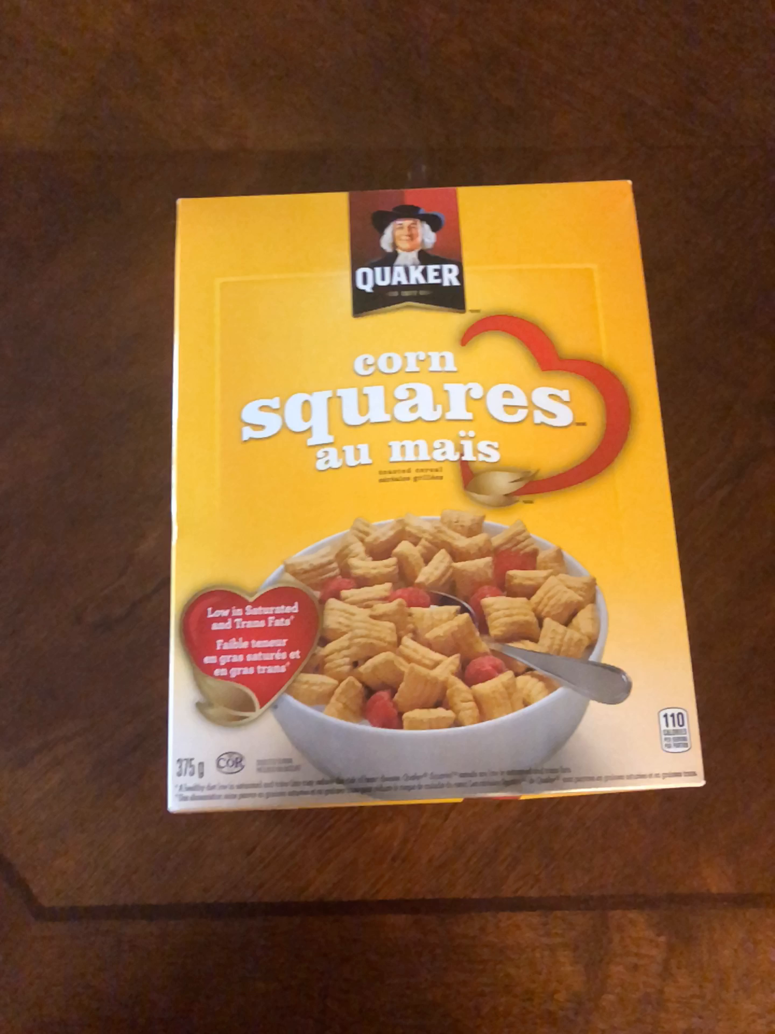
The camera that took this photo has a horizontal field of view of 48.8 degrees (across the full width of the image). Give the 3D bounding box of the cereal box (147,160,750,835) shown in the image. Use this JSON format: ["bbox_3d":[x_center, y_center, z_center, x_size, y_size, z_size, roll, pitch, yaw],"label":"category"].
[{"bbox_3d":[0.017,-0.017,0.366,0.220,0.050,0.270,-2,77,-3],"label":"cereal box"}]
